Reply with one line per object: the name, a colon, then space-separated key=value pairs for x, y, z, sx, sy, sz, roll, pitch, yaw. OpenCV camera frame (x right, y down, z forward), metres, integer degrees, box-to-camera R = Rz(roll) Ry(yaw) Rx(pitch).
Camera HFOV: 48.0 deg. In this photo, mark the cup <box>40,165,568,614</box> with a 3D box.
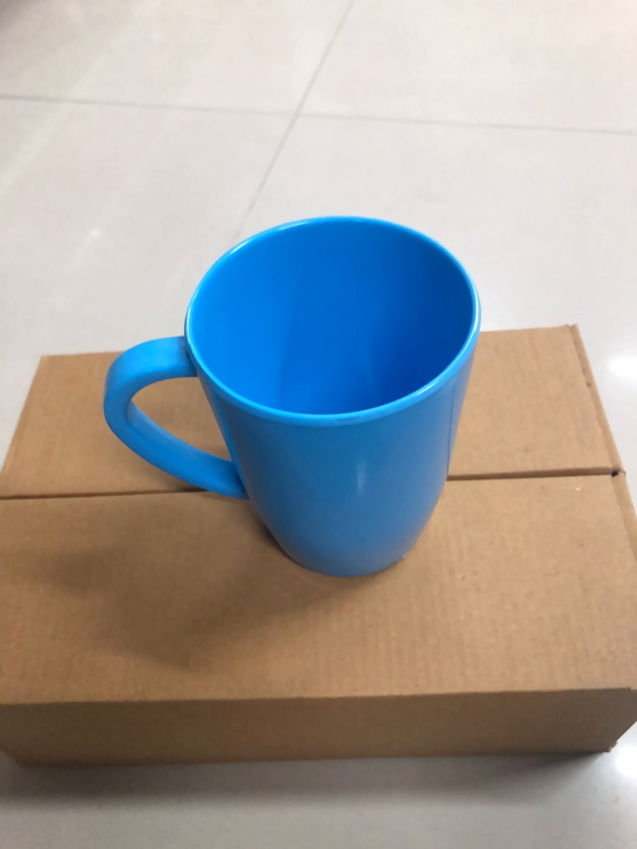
cup: x=-0.005 y=-0.008 z=0.220 sx=0.120 sy=0.089 sz=0.080 roll=-10 pitch=51 yaw=-2
